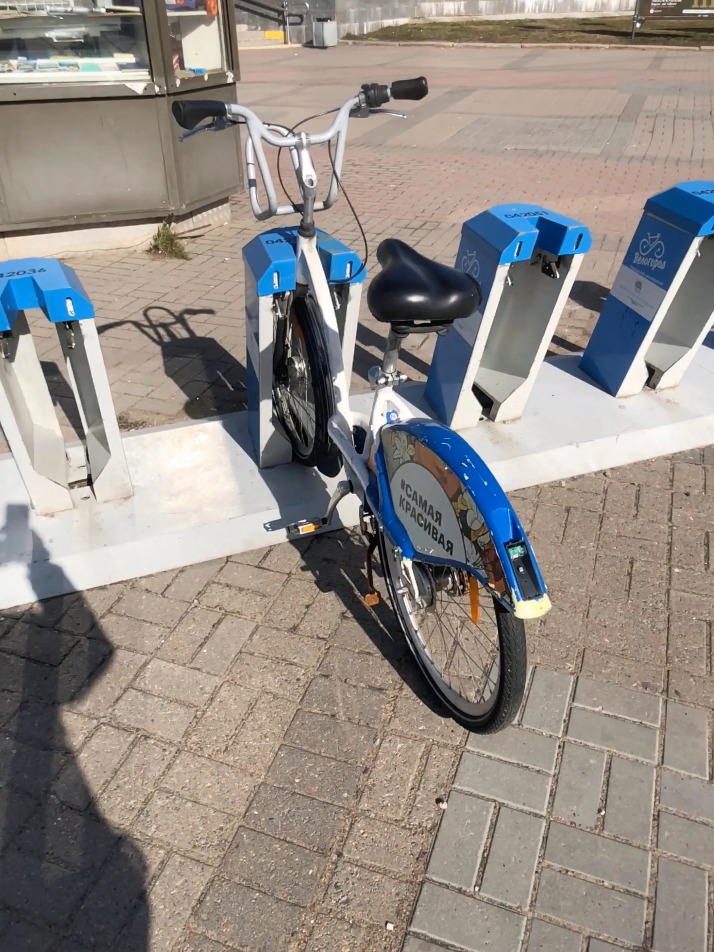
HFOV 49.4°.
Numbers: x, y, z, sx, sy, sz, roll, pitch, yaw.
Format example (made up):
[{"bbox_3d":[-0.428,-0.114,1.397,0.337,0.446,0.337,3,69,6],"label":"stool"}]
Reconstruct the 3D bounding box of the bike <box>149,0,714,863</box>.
[{"bbox_3d":[0.027,-0.337,1.845,0.596,1.203,1.635,-12,37,-17],"label":"bike"}]
